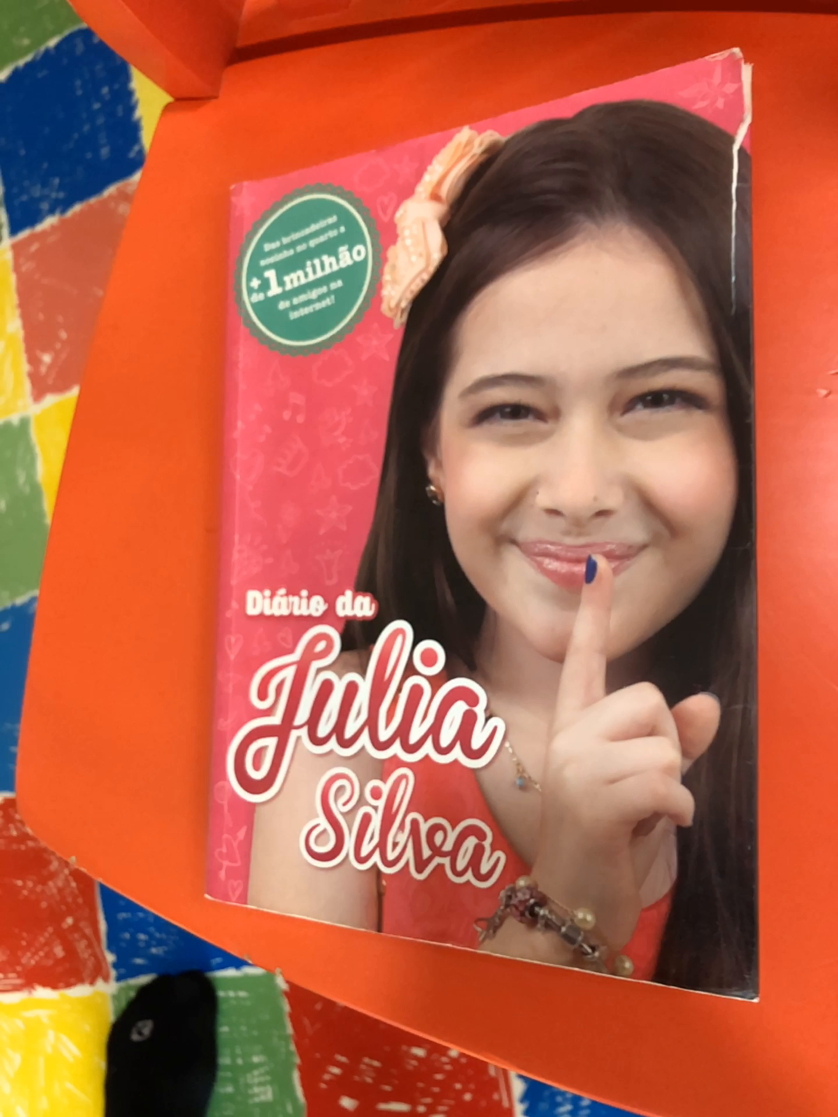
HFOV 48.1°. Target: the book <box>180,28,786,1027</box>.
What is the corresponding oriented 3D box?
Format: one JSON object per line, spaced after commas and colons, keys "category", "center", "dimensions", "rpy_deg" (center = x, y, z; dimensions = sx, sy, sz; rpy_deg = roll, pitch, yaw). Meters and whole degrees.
{"category": "book", "center": [0.013, -0.011, 0.269], "dimensions": [0.171, 0.020, 0.241], "rpy_deg": [0, 85, 24]}
